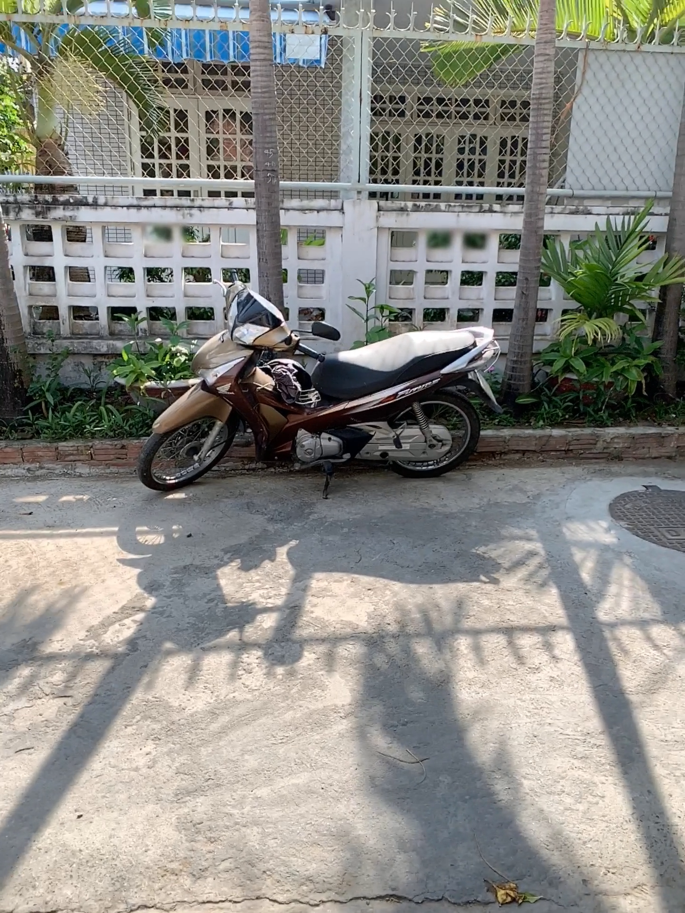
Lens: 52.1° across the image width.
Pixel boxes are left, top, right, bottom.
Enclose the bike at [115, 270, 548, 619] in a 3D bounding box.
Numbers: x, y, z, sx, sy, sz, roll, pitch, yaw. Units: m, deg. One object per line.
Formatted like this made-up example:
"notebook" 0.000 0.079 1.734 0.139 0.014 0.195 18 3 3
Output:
"bike" -0.025 -0.160 3.521 1.975 1.442 0.614 -5 19 -19
